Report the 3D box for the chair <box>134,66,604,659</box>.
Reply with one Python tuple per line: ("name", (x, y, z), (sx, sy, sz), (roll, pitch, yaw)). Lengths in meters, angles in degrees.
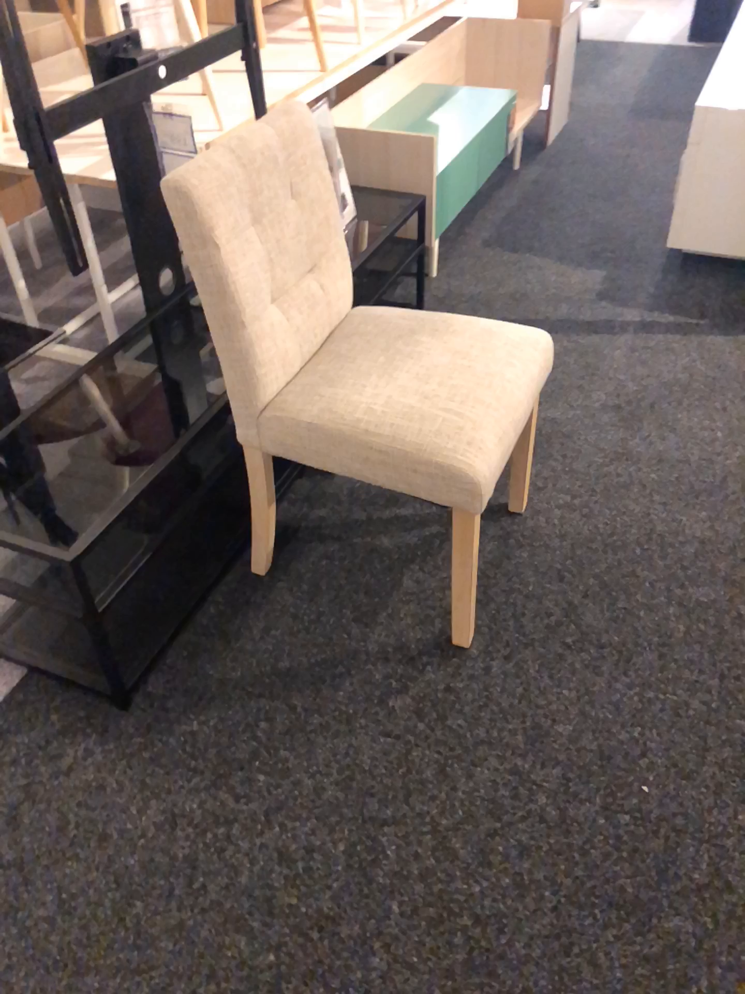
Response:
("chair", (0.038, -0.253, 1.534), (0.560, 0.855, 0.554), (14, 42, 17))
